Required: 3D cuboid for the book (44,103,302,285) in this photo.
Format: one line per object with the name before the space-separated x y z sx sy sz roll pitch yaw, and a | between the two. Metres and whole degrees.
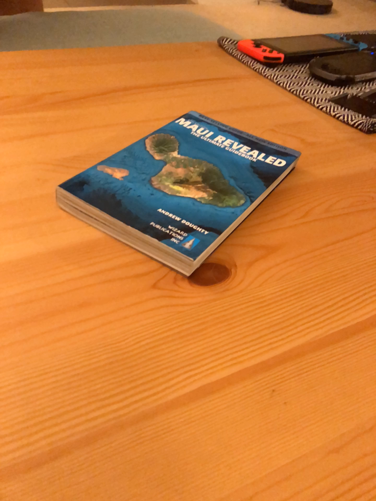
book | -0.002 -0.070 0.383 0.146 0.020 0.201 28 48 19
